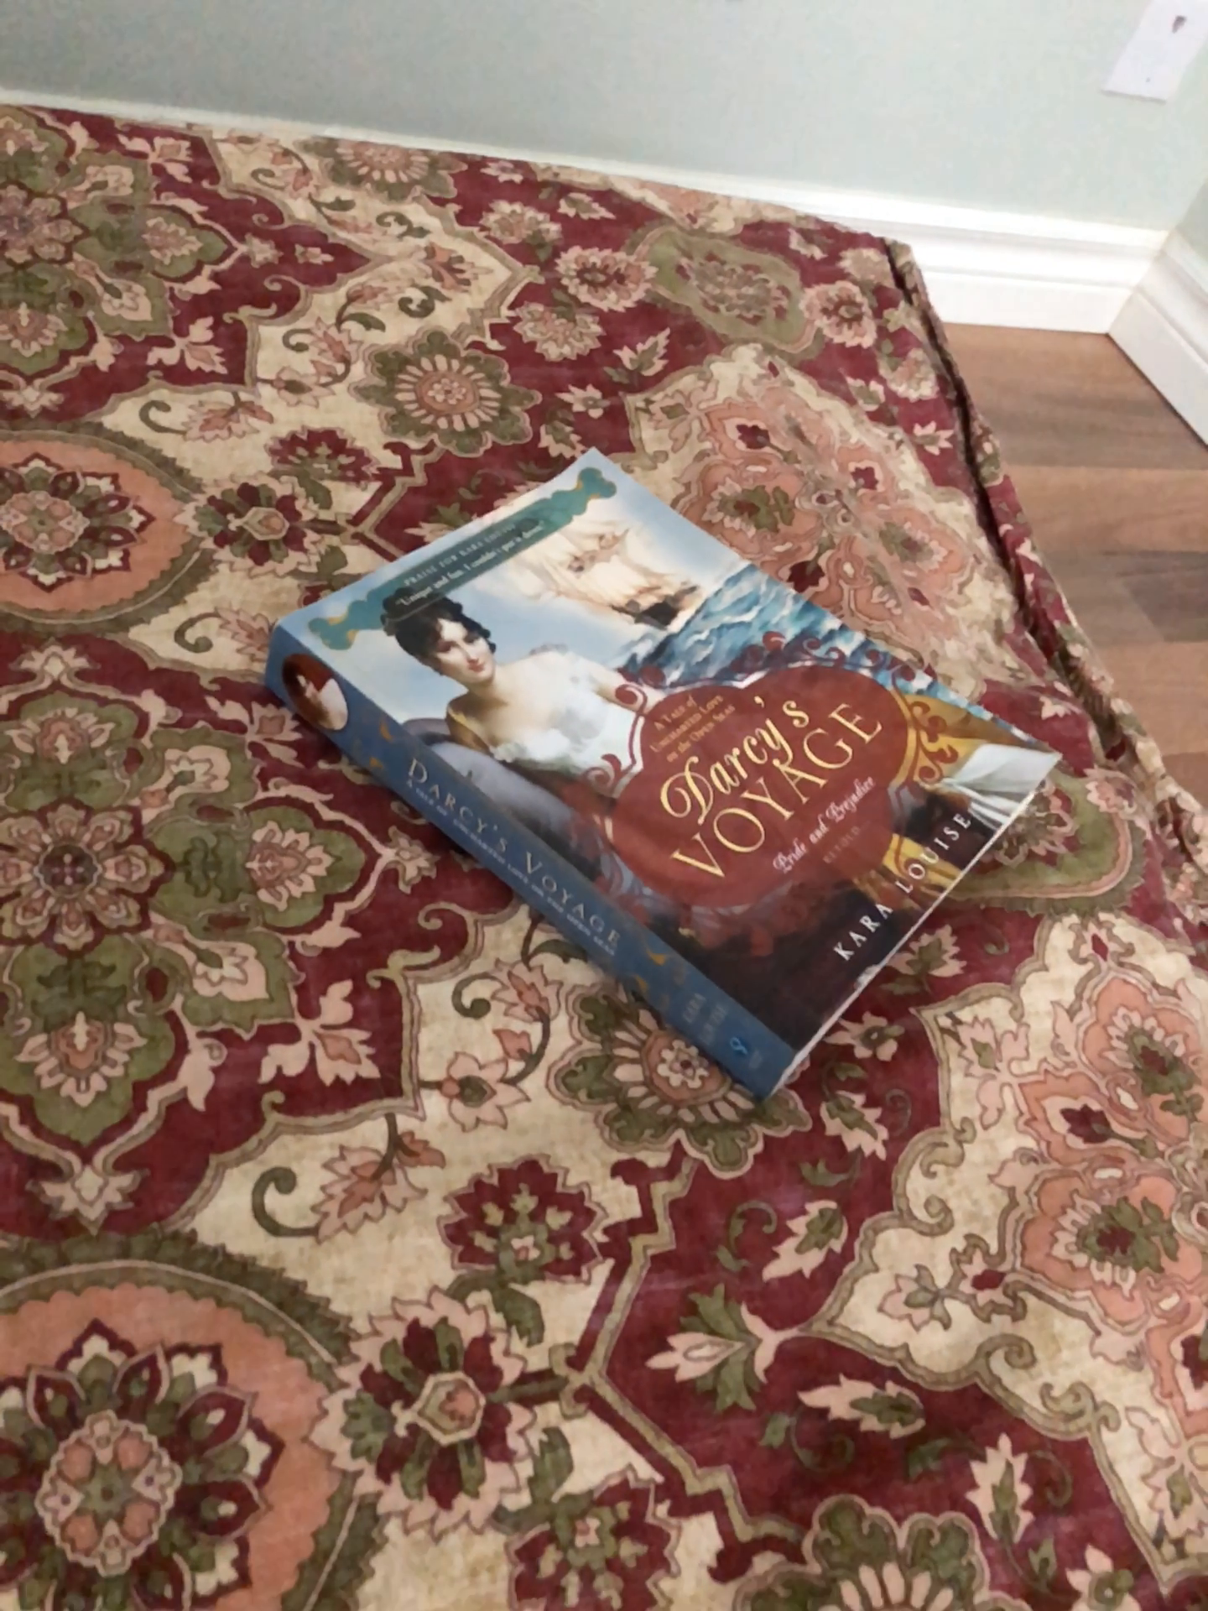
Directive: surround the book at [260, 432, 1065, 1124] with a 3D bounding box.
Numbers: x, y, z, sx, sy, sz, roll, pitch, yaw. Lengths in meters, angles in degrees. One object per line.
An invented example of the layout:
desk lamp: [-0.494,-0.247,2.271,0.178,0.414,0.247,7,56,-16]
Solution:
book: [0.022,-0.025,0.417,0.200,0.034,0.155,40,49,15]
